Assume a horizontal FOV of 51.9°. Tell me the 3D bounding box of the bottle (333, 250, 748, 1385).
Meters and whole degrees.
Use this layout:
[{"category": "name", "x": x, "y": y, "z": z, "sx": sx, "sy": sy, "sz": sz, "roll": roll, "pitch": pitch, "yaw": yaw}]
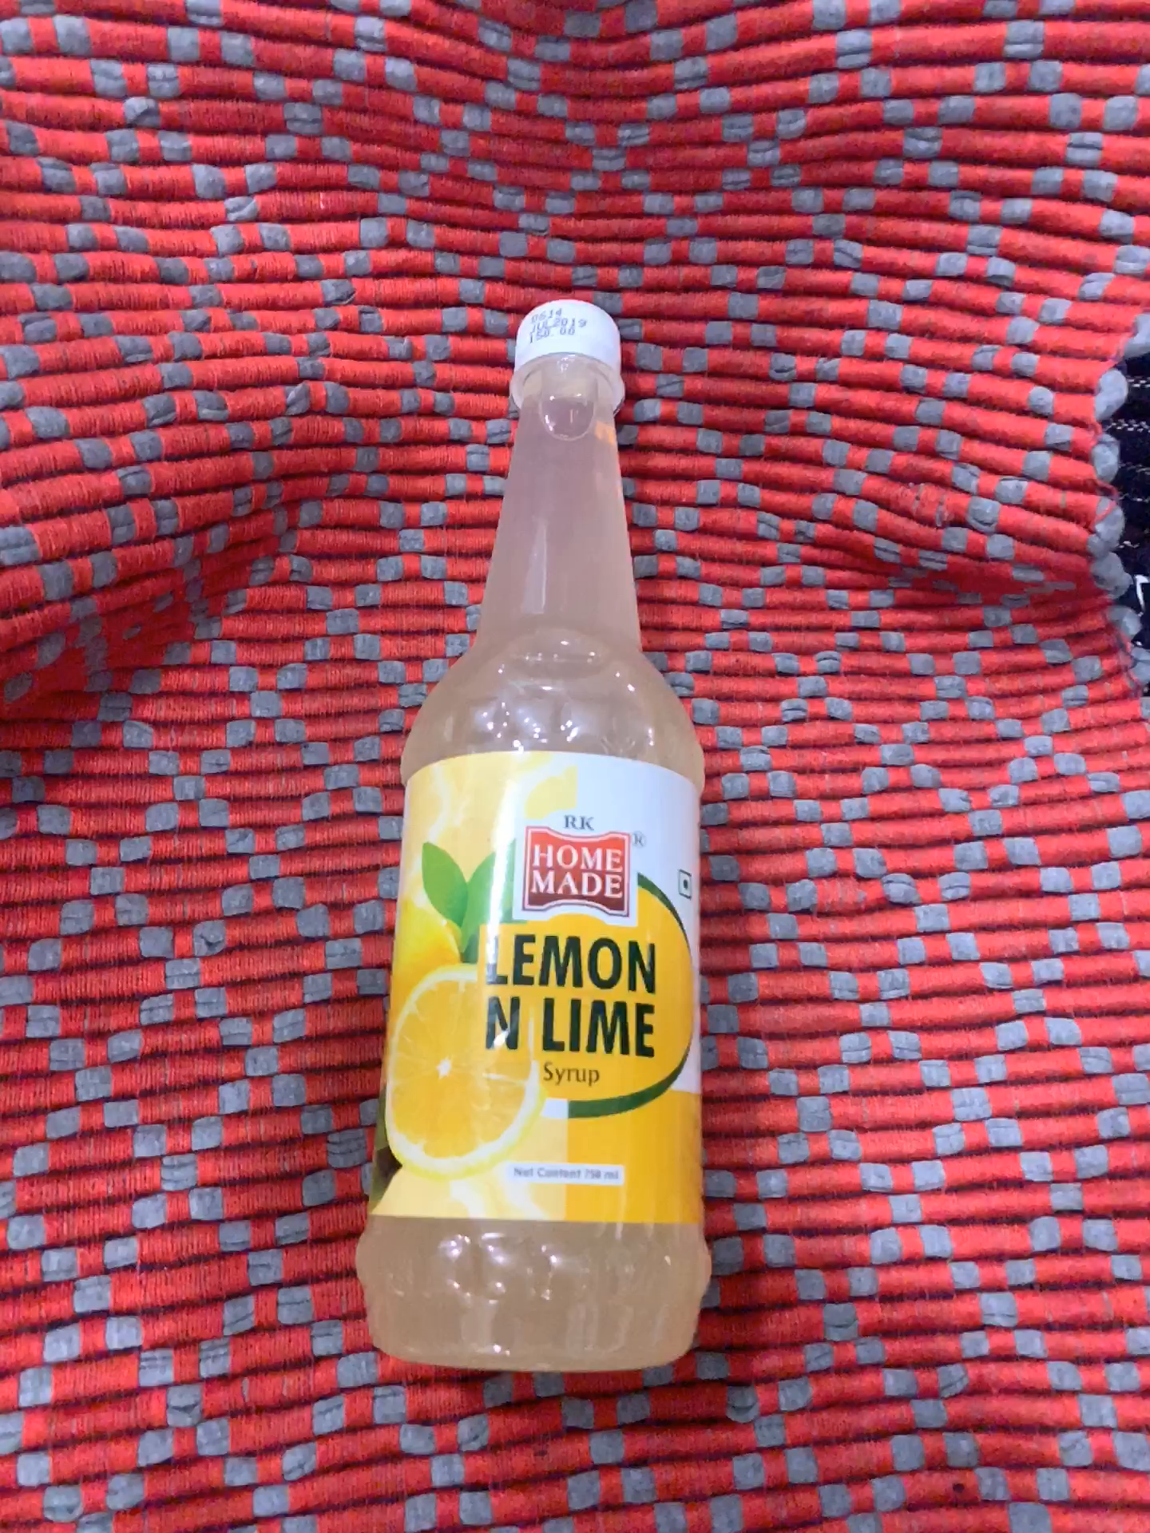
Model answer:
[{"category": "bottle", "x": -0.004, "y": 0.000, "z": 0.285, "sx": 0.070, "sy": 0.070, "sz": 0.260, "roll": 2, "pitch": 65, "yaw": -2}]
